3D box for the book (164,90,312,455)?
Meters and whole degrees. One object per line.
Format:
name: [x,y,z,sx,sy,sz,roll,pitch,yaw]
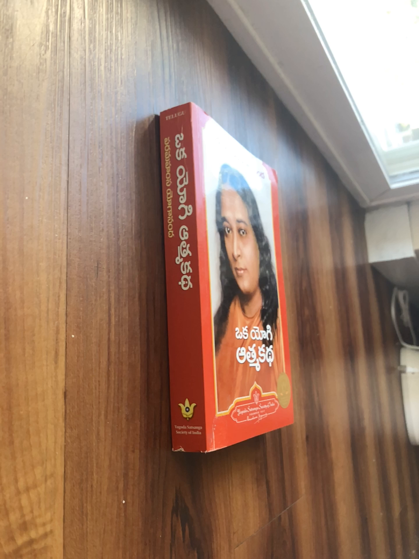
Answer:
book: [0.026,0.000,0.338,0.149,0.030,0.214,15,69,-57]
